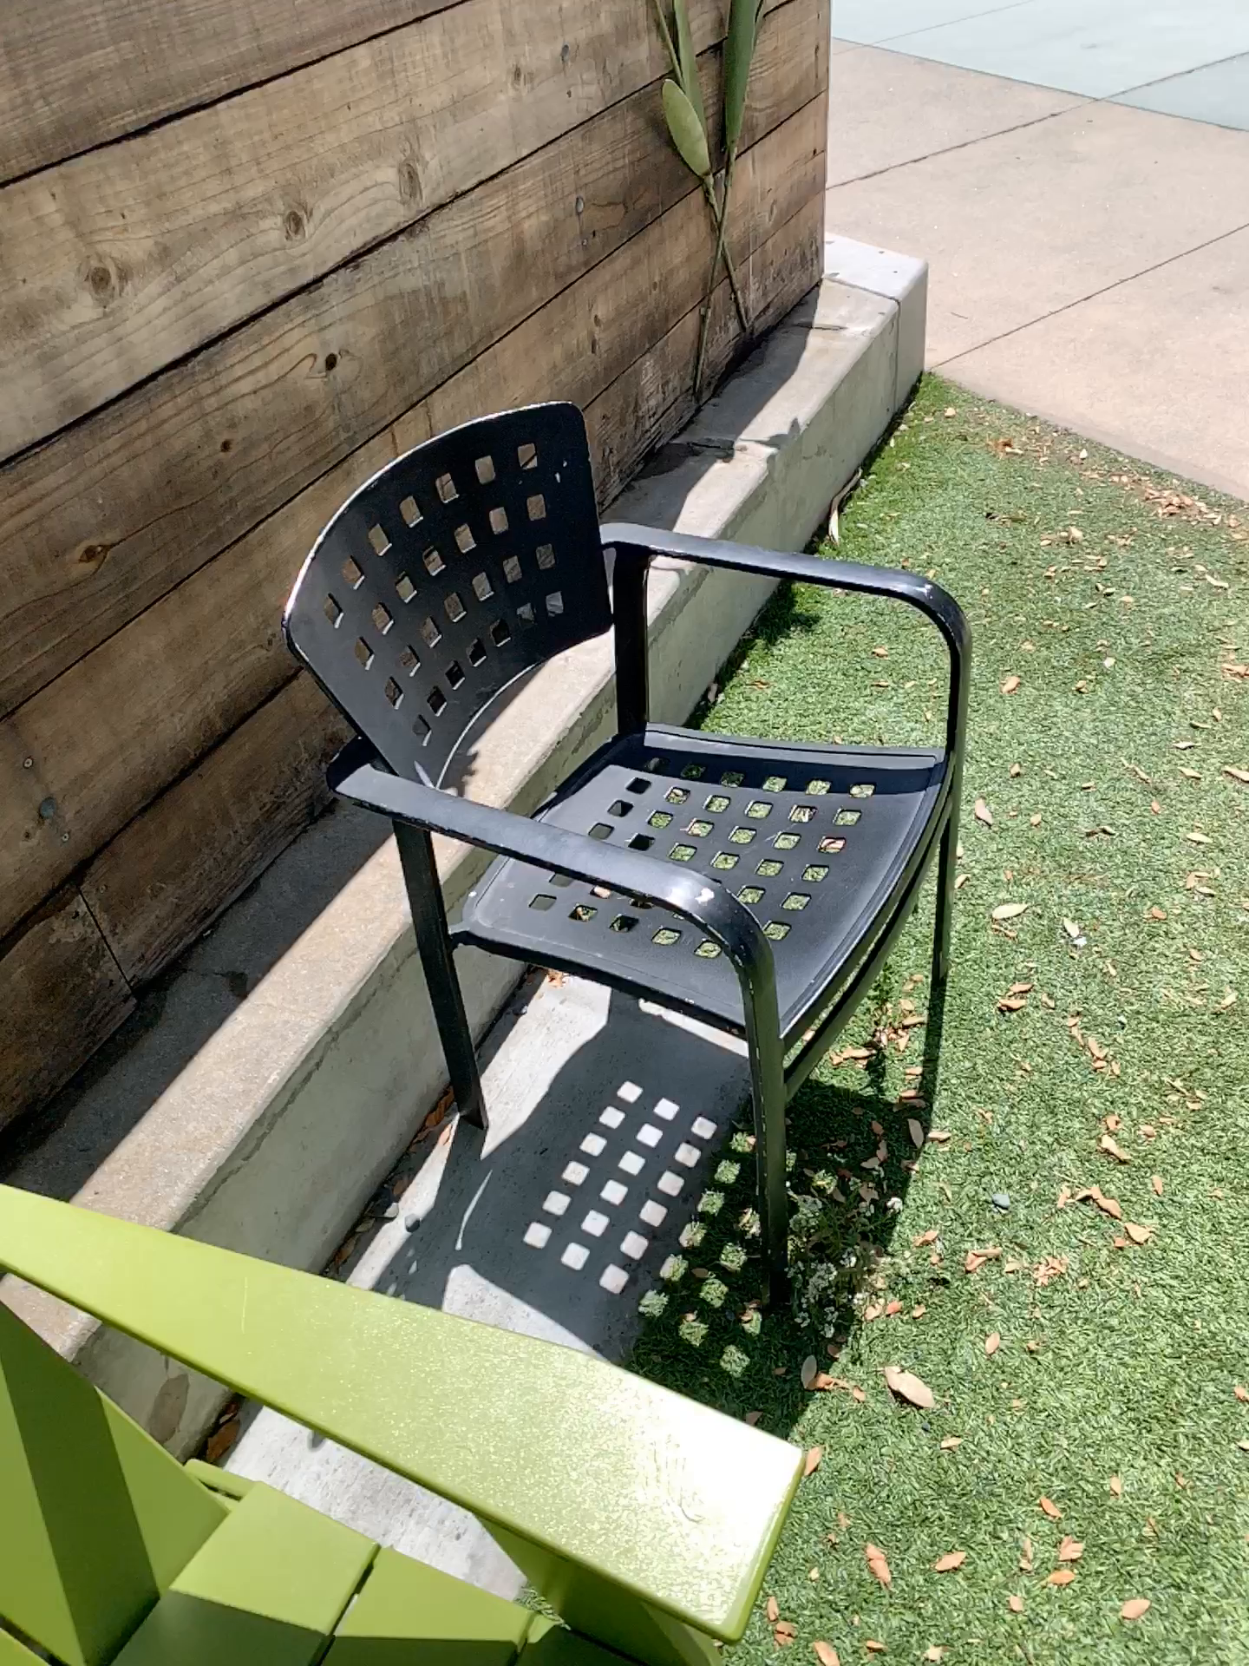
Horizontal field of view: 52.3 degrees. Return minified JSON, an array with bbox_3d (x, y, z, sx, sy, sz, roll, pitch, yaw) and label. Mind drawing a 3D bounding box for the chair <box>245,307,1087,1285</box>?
[{"bbox_3d":[0.088,-0.061,1.346,0.521,0.716,0.592,18,46,24],"label":"chair"}]
